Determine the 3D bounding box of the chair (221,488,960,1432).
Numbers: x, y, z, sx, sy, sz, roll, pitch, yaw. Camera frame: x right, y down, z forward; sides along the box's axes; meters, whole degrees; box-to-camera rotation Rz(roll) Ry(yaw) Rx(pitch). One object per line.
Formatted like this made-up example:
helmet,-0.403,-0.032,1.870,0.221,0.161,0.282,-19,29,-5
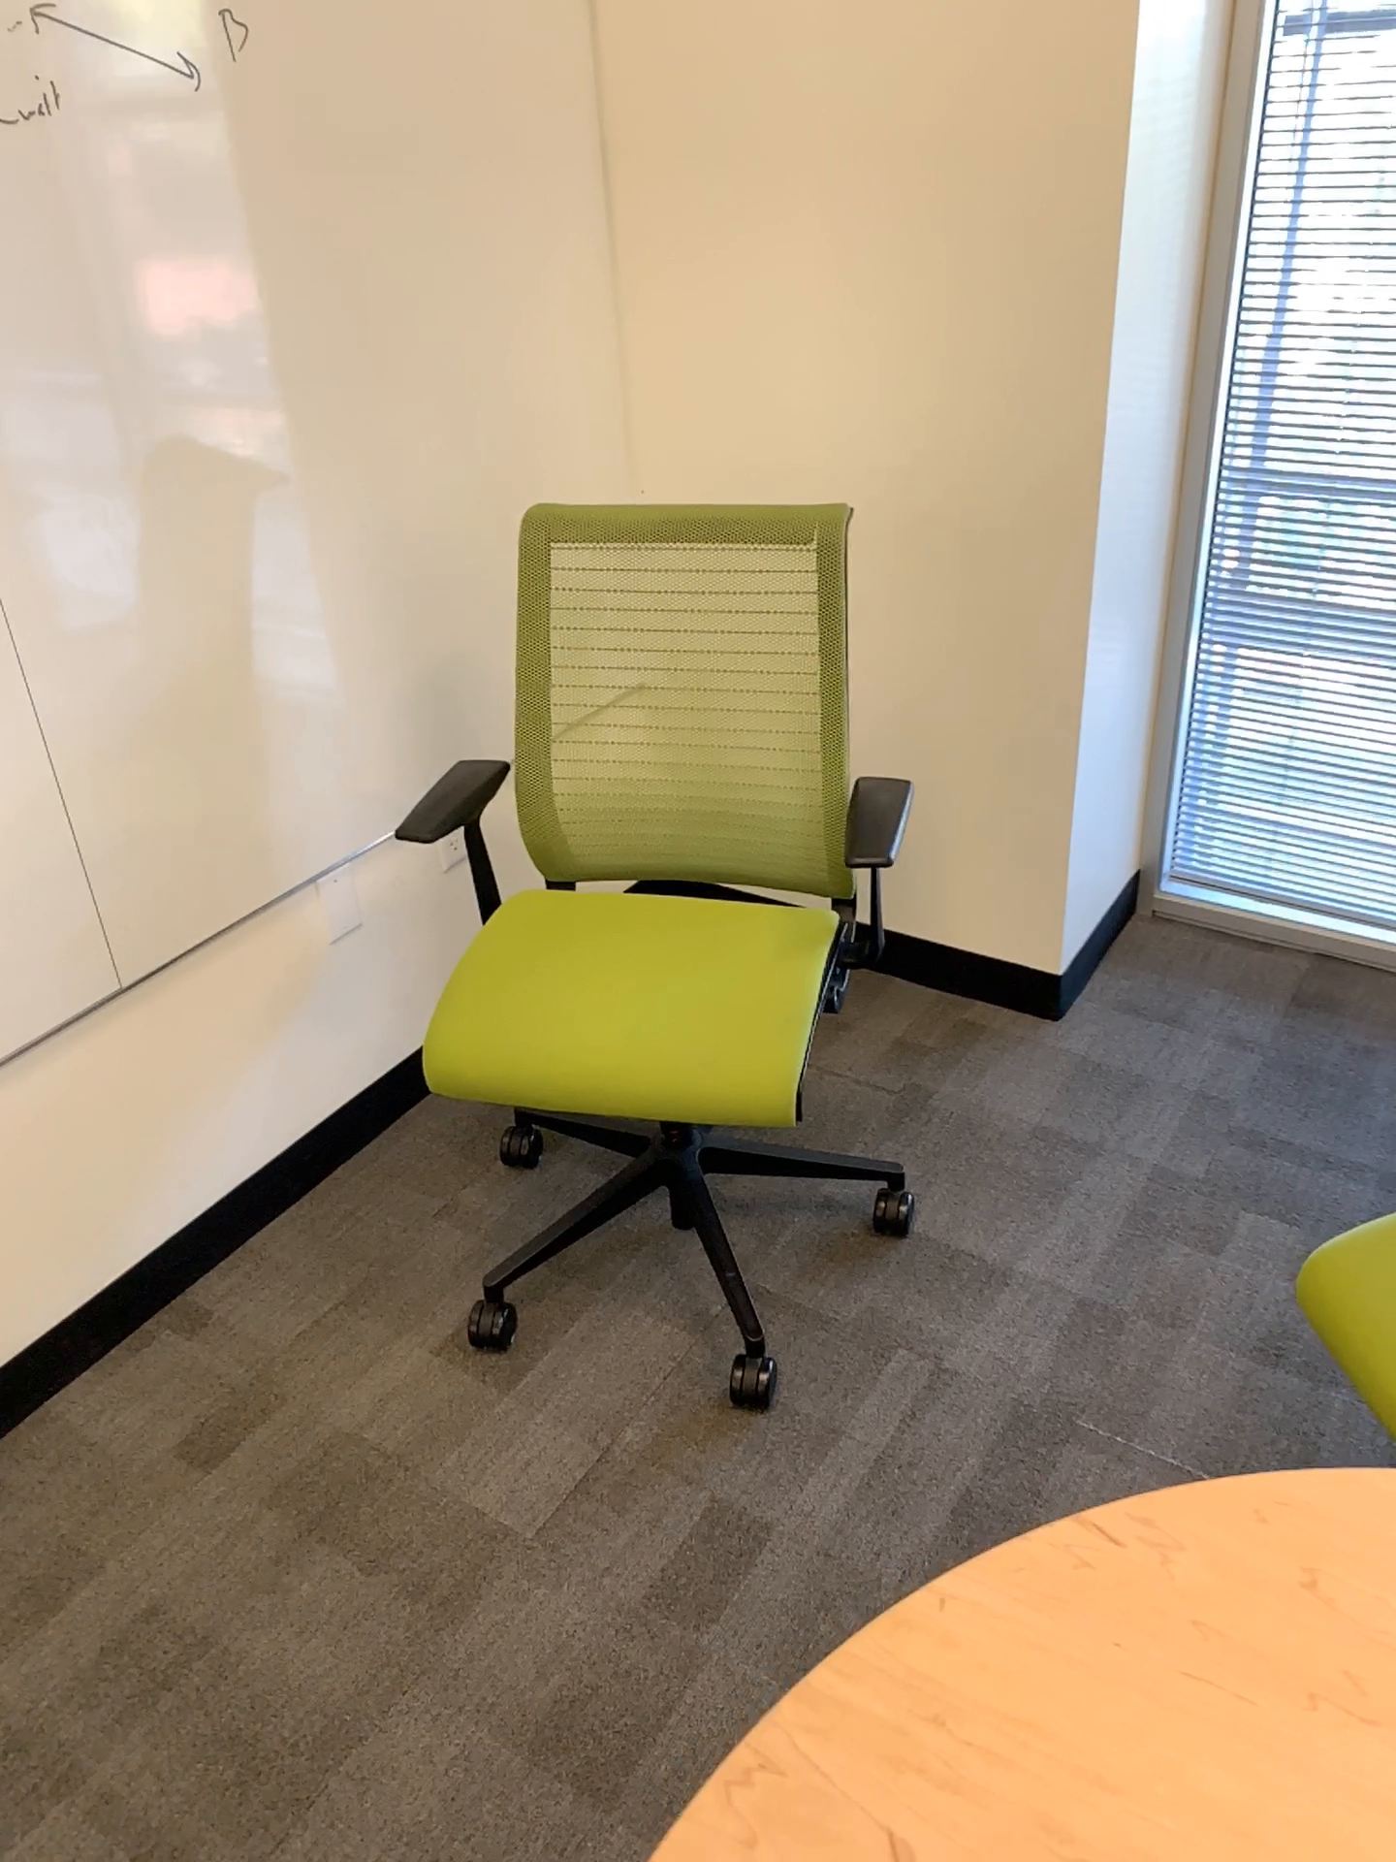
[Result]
chair,-0.038,-0.017,2.040,0.701,0.994,0.844,5,32,14
